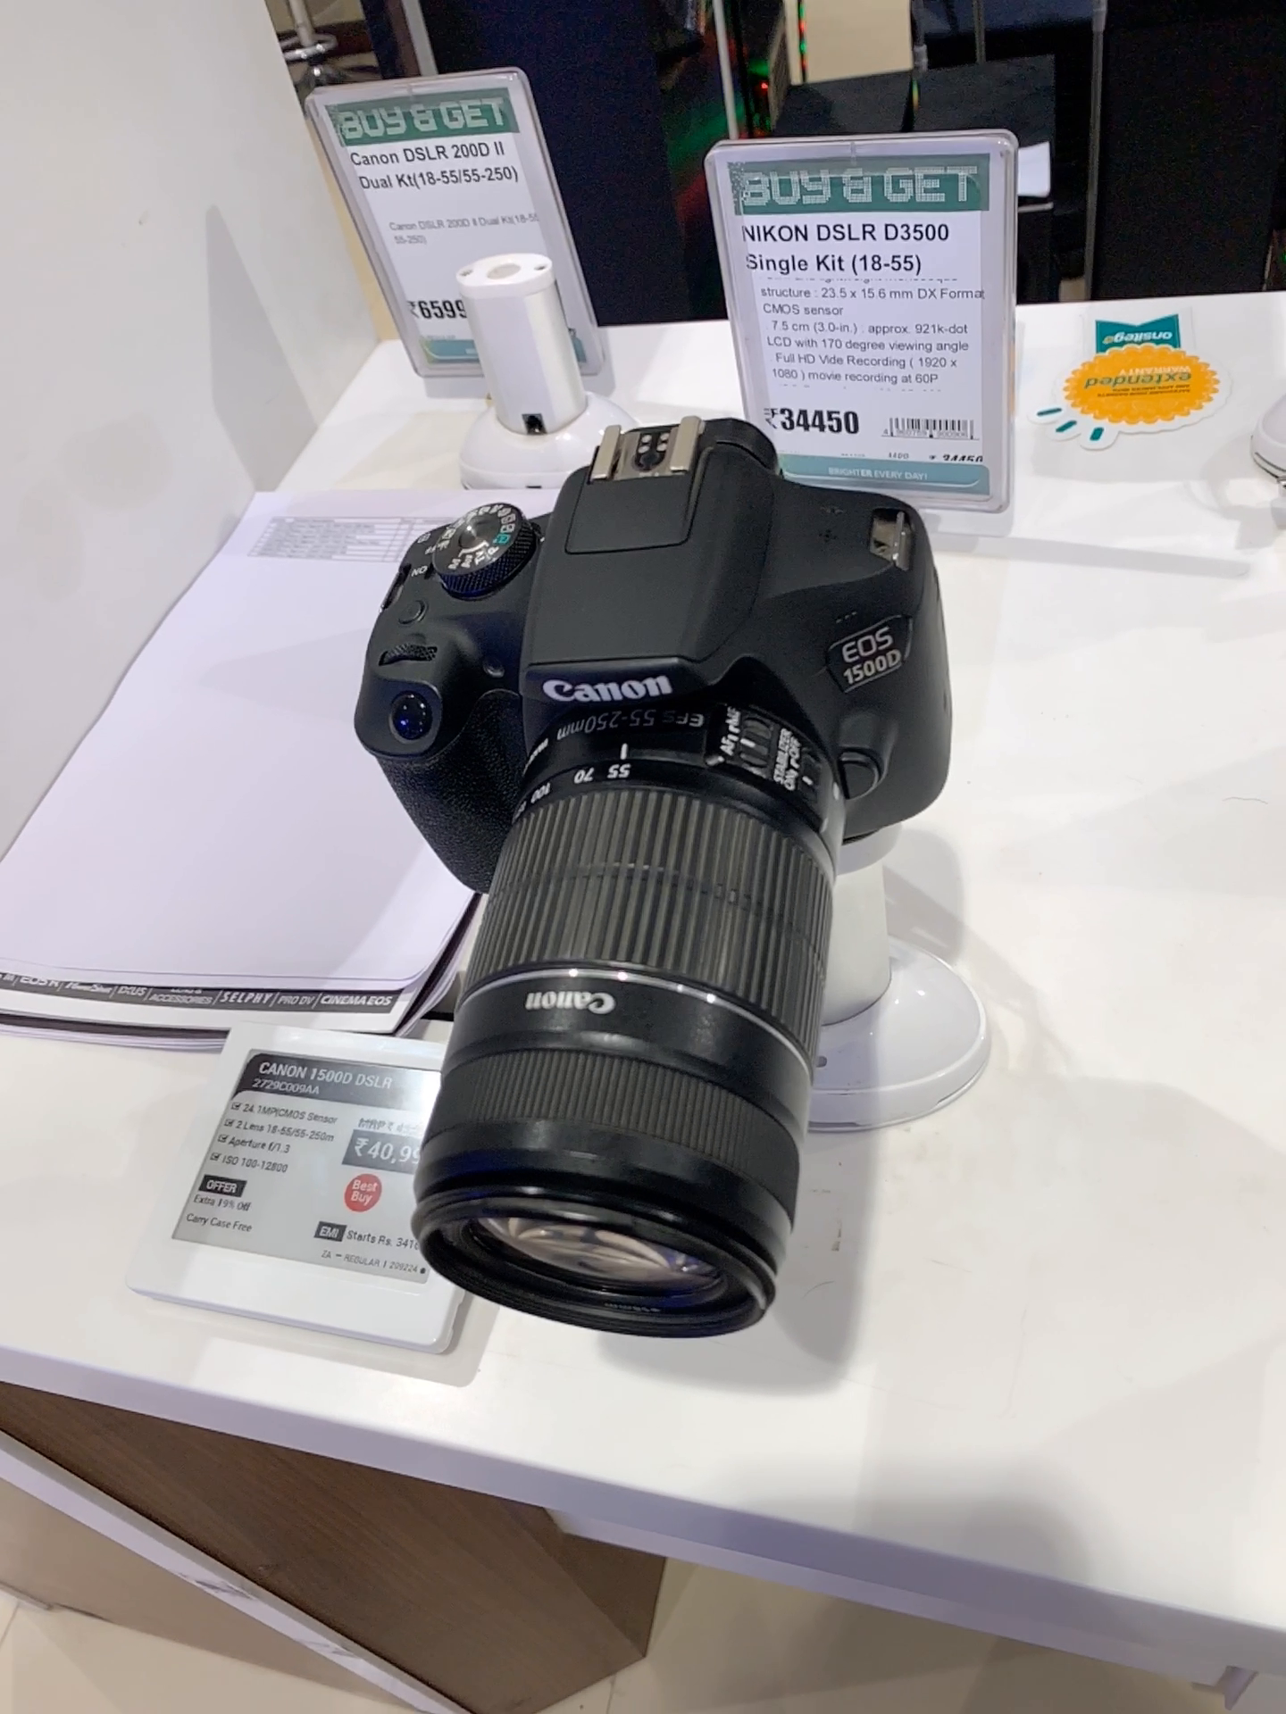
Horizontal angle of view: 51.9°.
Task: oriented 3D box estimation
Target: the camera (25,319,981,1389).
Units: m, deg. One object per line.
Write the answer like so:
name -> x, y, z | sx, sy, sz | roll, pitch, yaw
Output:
camera -> -0.001, -0.012, 0.268 | 0.130, 0.090, 0.190 | 1, 49, 16
